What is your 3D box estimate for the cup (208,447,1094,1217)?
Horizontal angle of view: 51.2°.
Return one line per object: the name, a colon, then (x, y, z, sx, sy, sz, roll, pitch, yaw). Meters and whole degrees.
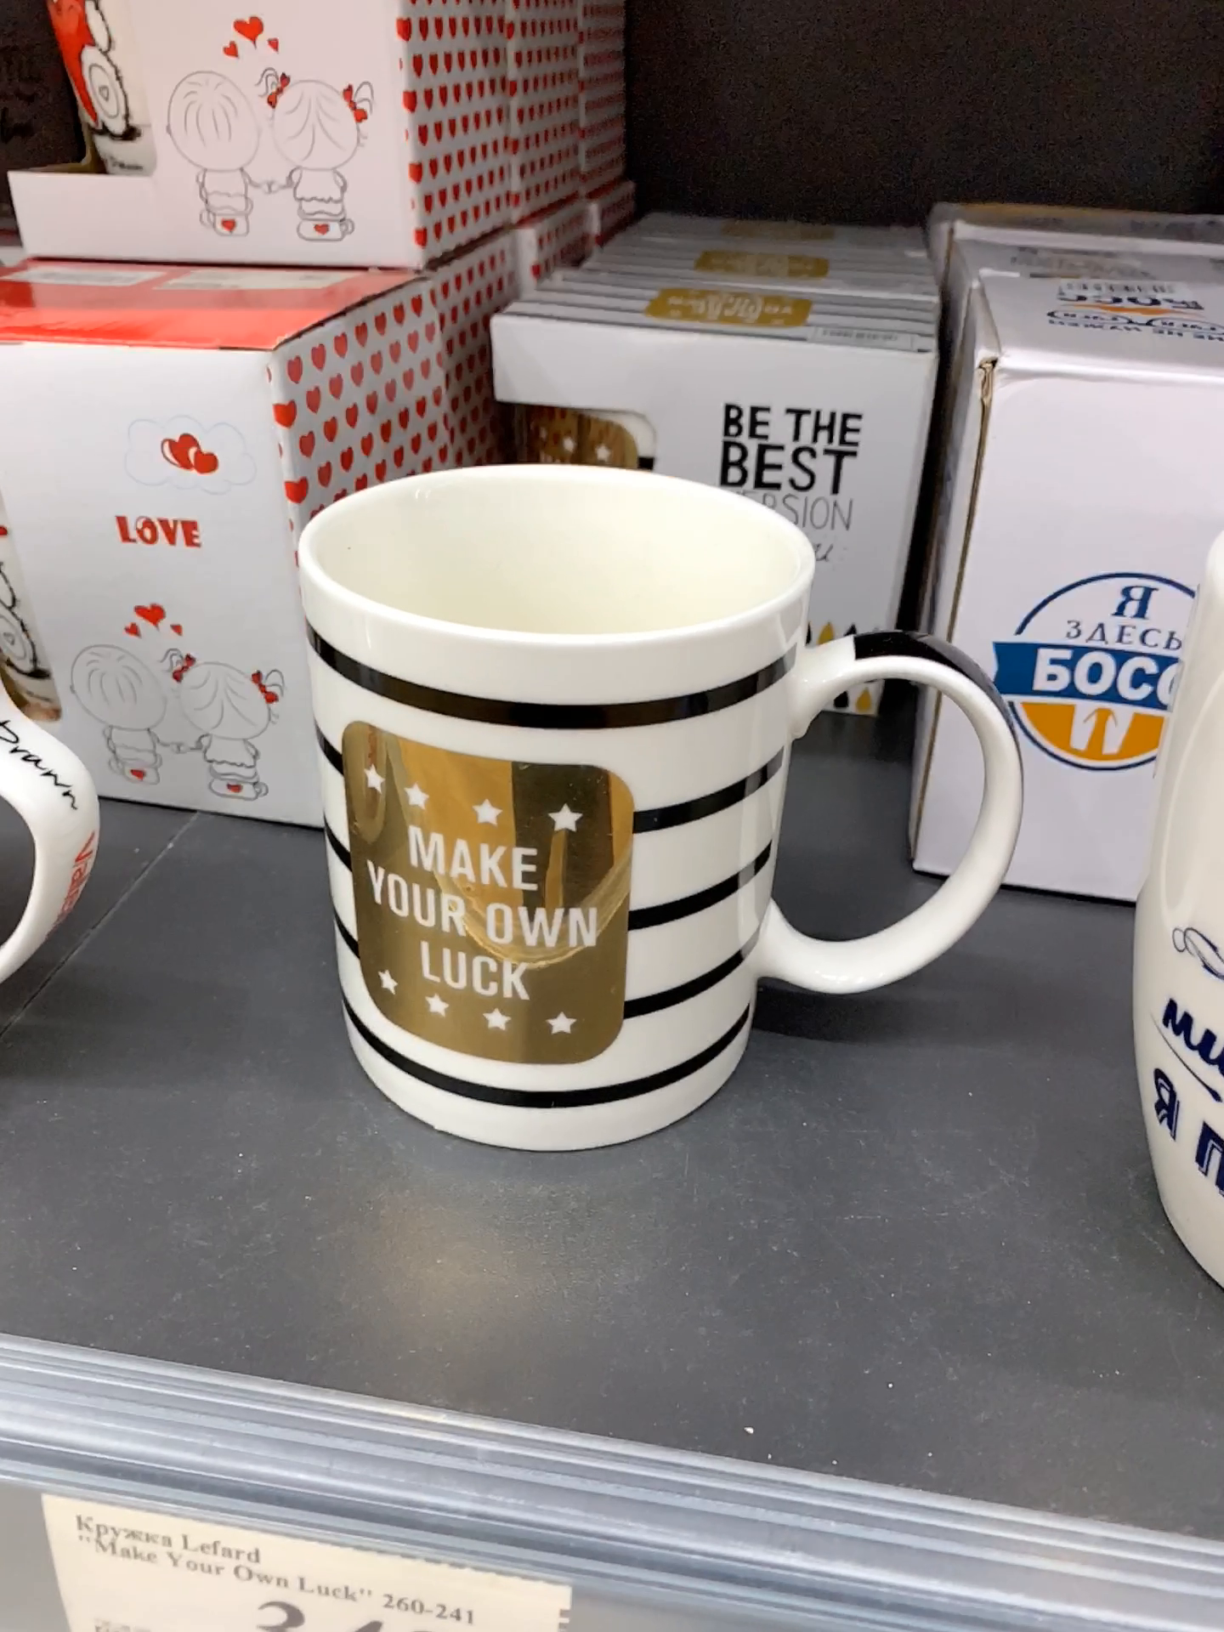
cup: (0.007, -0.002, 0.223, 0.114, 0.096, 0.082, 5, 32, 5)
